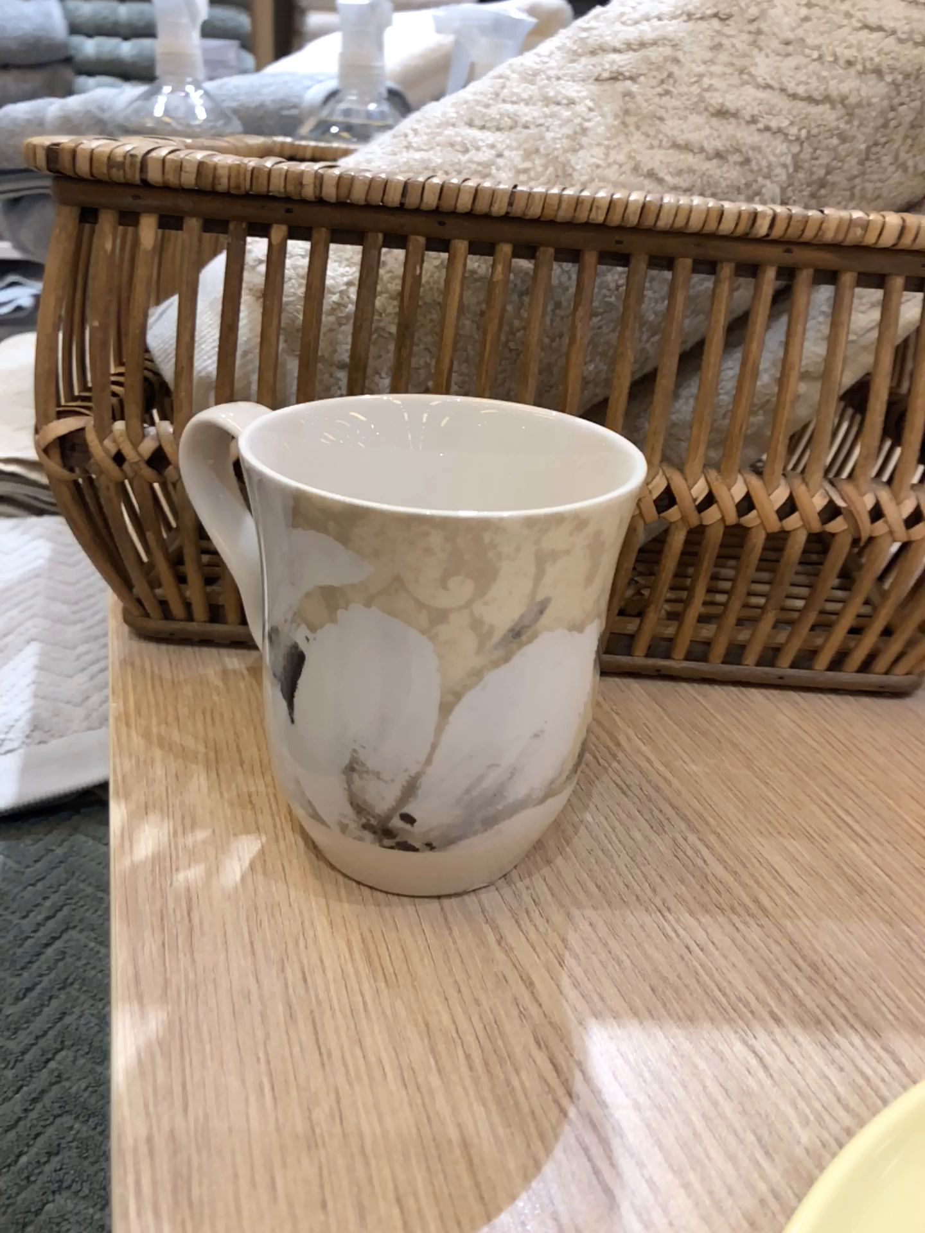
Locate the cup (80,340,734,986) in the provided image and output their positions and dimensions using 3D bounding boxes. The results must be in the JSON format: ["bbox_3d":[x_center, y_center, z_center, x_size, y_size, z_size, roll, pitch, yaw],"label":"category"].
[{"bbox_3d":[-0.020,-0.004,0.261,0.090,0.099,0.130,-18,33,-40],"label":"cup"}]
